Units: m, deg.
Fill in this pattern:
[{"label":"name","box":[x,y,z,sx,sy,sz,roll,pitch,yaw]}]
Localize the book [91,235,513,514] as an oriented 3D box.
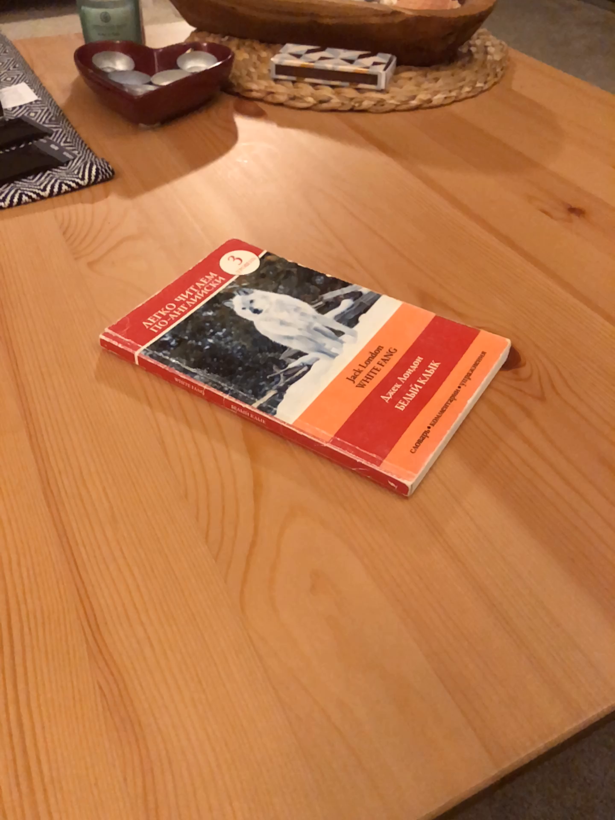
[{"label":"book","box":[-0.003,-0.035,0.396,0.204,0.020,0.129,25,49,22]}]
